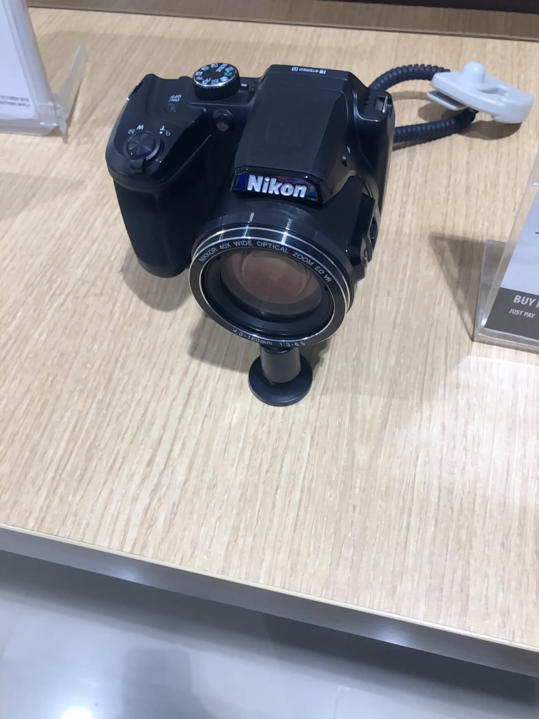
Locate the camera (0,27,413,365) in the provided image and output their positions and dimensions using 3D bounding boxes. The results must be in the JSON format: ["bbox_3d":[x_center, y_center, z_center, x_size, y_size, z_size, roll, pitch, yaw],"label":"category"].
[{"bbox_3d":[-0.015,-0.063,0.228,0.120,0.070,0.090,9,58,9],"label":"camera"}]
